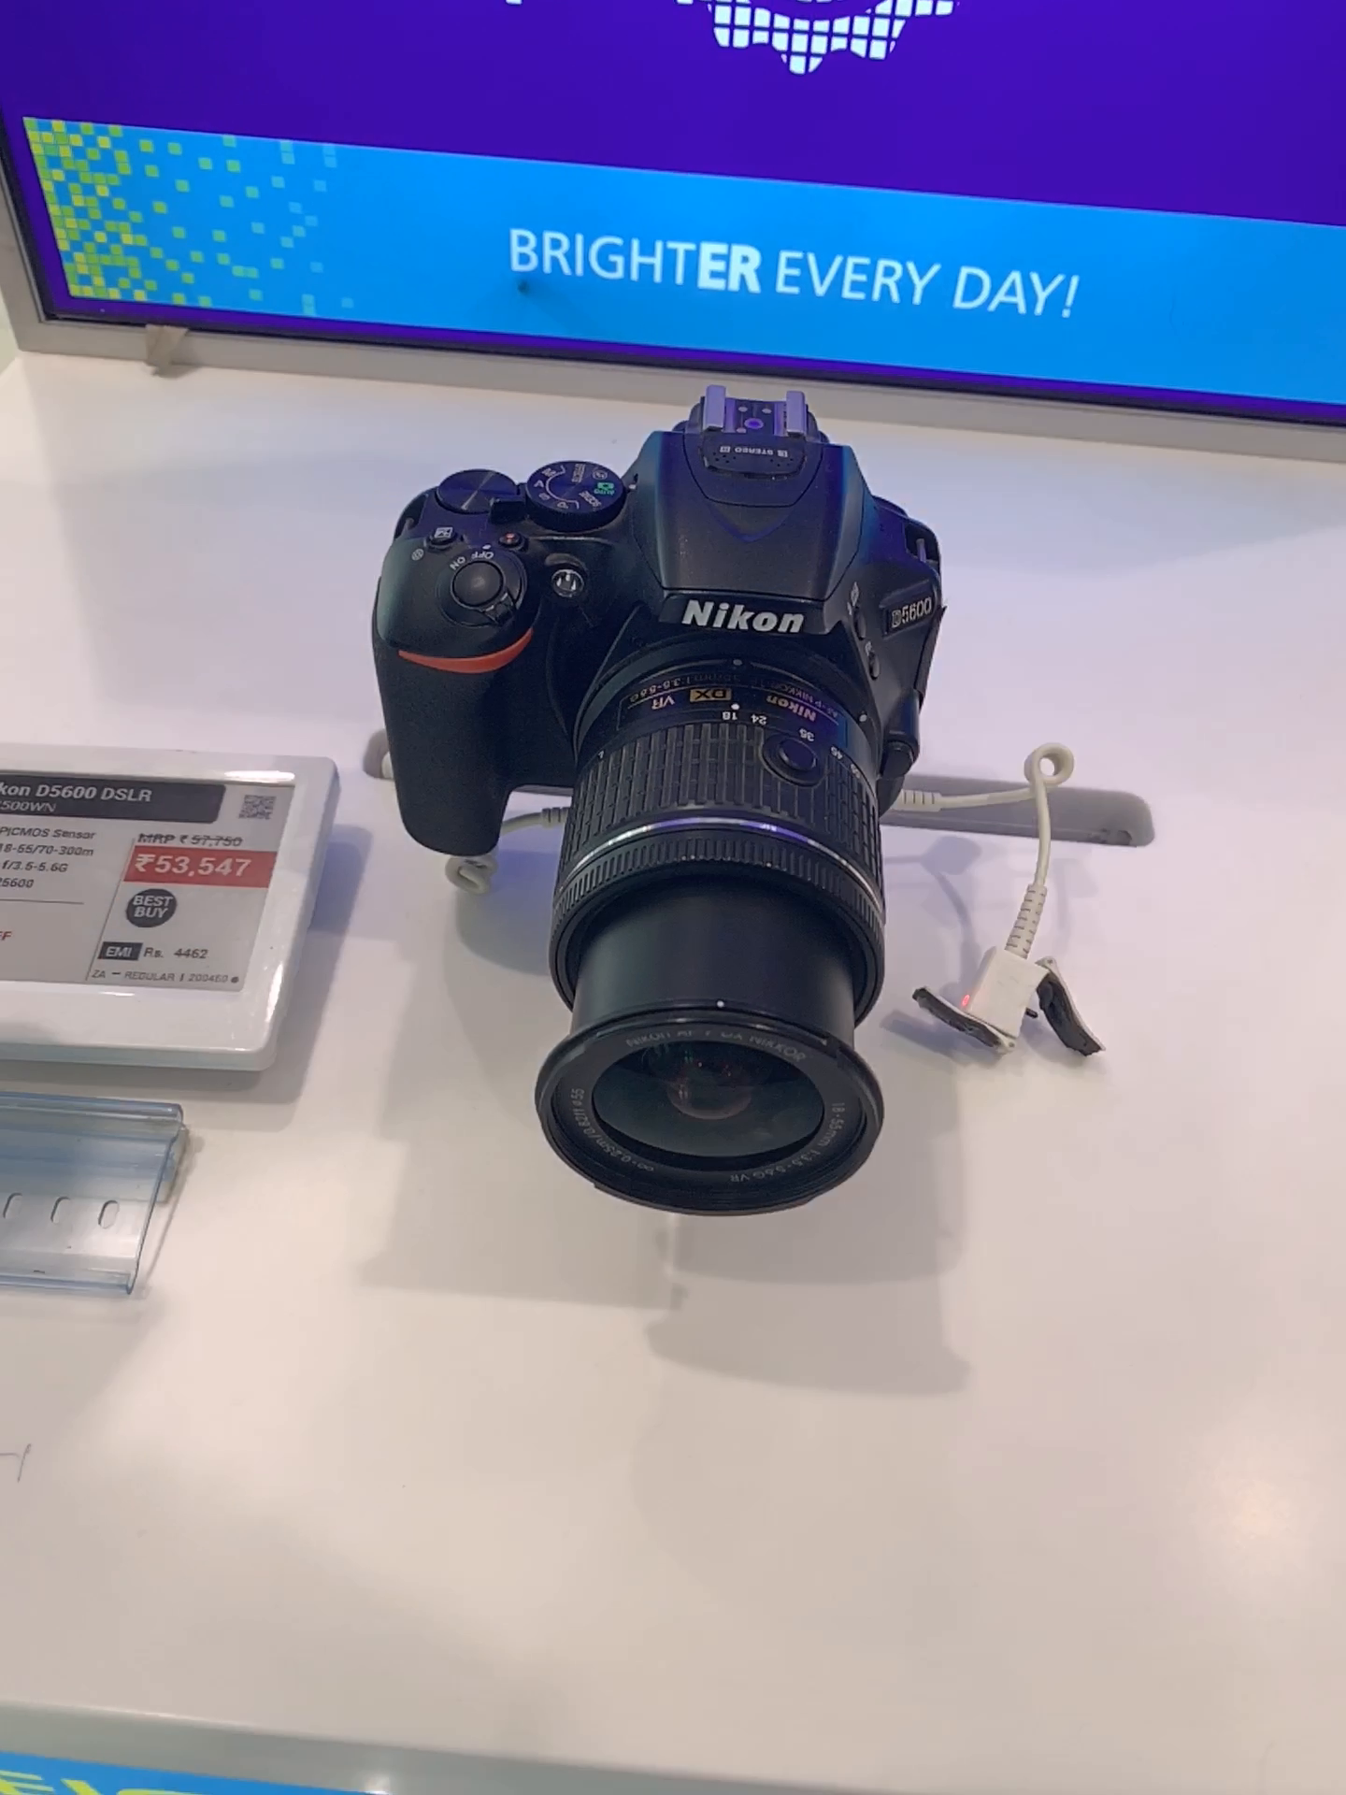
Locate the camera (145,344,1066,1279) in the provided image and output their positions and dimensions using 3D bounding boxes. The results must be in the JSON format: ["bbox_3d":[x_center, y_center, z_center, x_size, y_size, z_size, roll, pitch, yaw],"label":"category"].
[{"bbox_3d":[-0.008,-0.020,0.260,0.116,0.100,0.141,3,47,0],"label":"camera"}]
